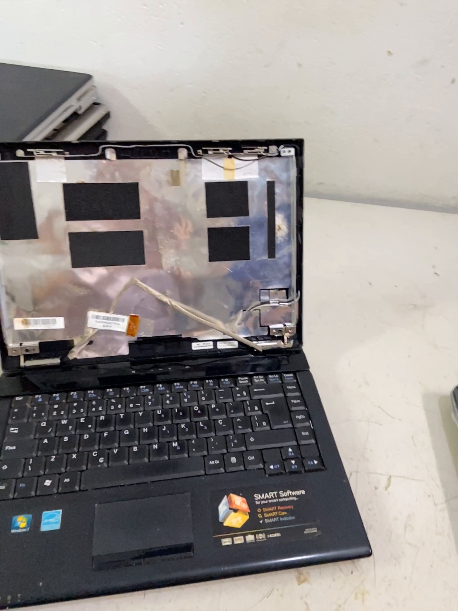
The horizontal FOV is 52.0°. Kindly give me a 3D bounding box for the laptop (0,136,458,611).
[{"bbox_3d":[-0.065,0.026,0.421,0.333,0.206,0.337,-4,43,-7],"label":"laptop"}]
